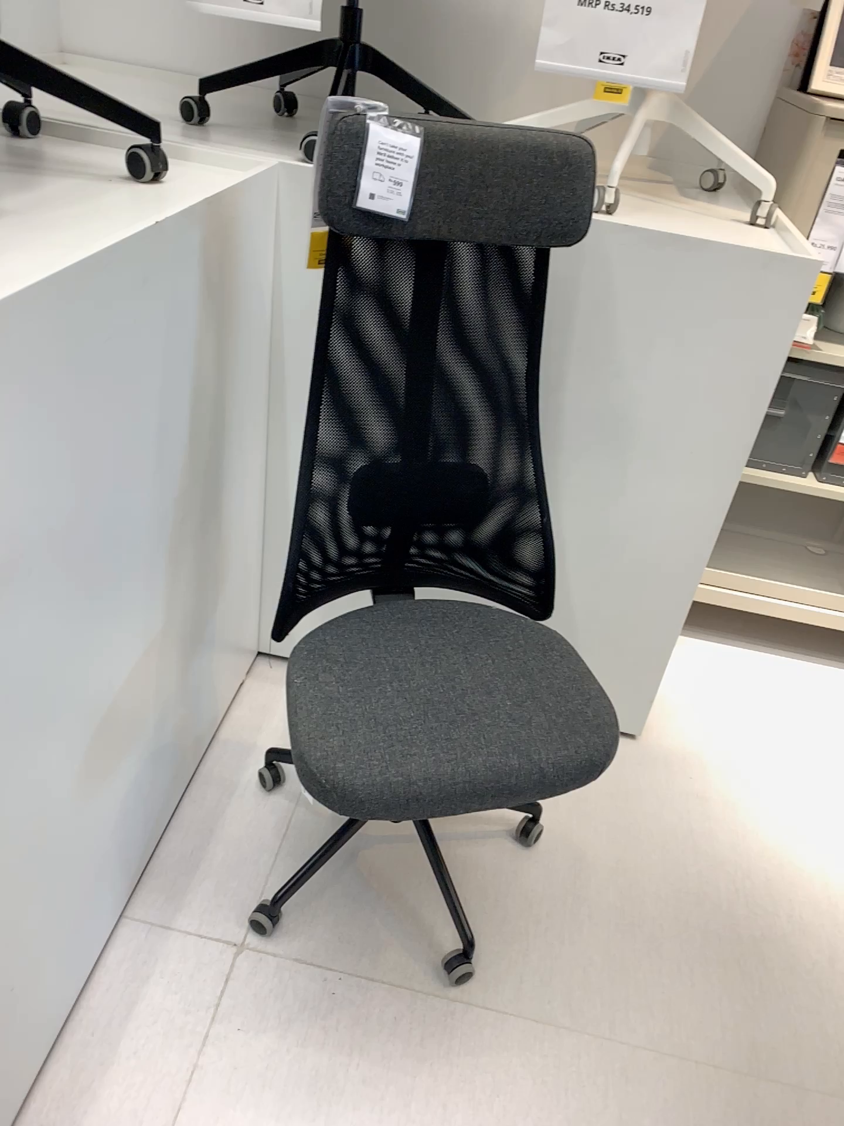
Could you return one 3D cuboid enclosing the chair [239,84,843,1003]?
[{"bbox_3d":[0.050,0.014,1.406,0.660,1.264,0.673,1,34,-13],"label":"chair"}]
